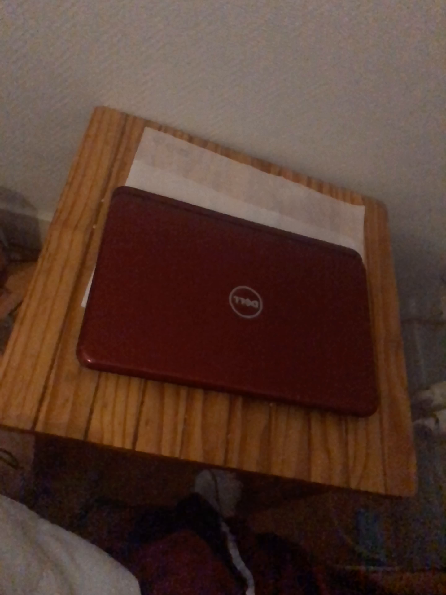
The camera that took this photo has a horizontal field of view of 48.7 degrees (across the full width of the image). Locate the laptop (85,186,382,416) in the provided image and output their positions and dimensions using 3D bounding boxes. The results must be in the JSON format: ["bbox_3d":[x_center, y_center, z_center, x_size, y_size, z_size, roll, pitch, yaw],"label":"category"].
[{"bbox_3d":[0.034,0.001,0.639,0.366,0.011,0.247,13,59,-14],"label":"laptop"}]
